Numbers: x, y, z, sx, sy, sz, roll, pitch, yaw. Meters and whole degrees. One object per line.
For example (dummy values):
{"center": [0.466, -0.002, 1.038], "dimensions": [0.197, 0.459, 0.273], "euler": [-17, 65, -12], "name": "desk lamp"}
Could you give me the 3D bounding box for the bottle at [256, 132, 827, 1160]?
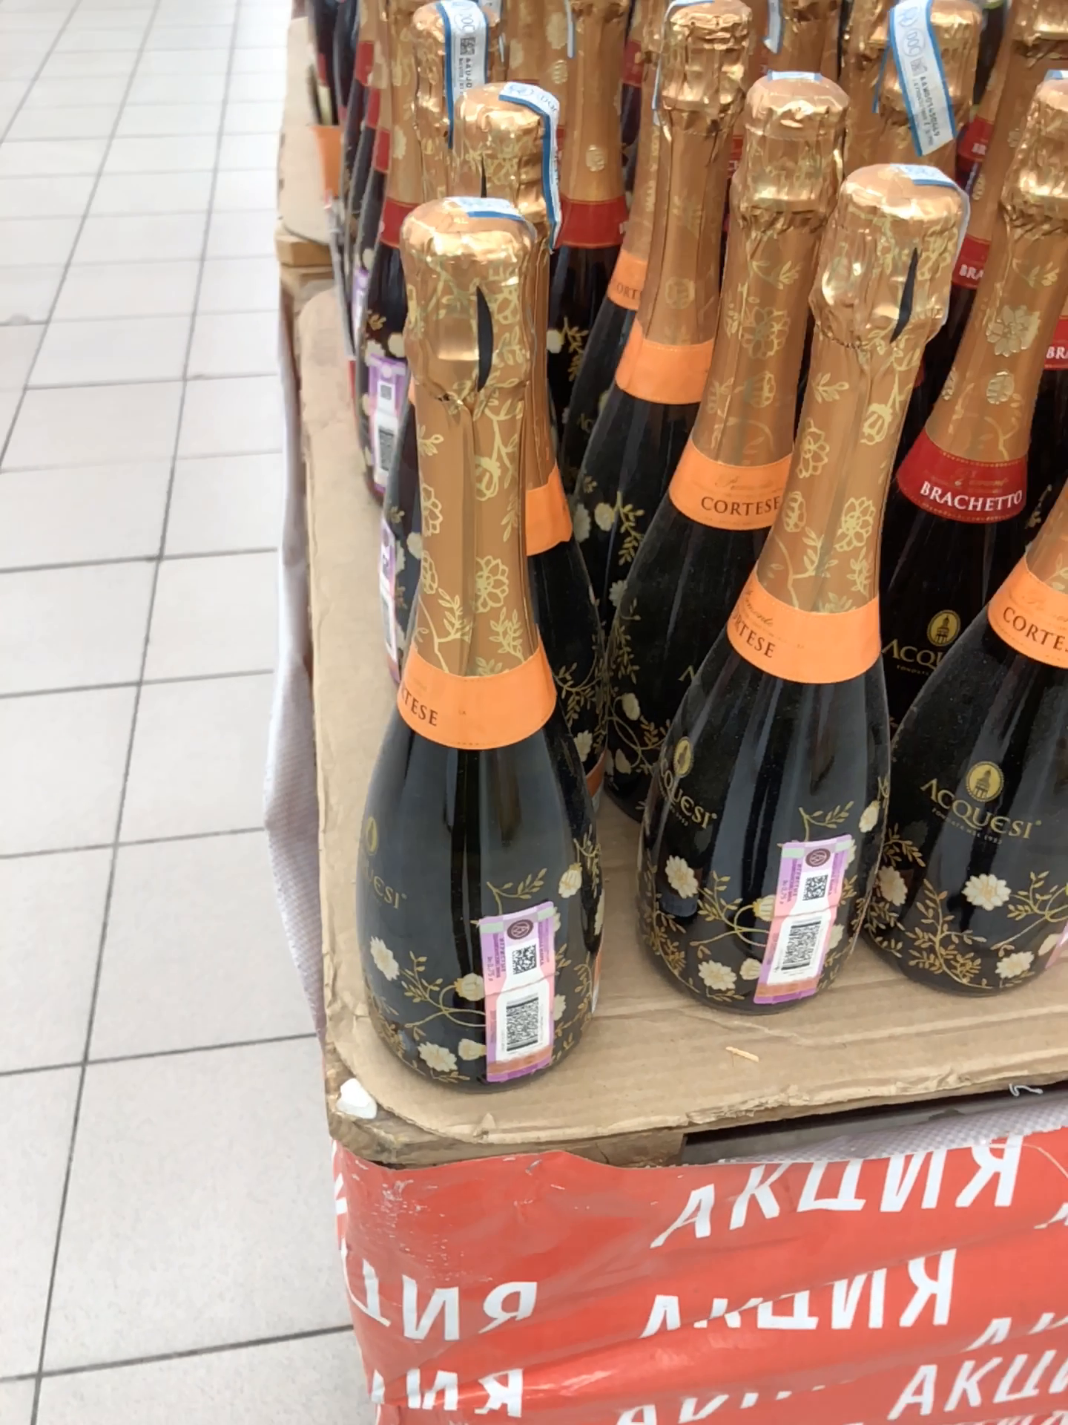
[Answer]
{"center": [-0.004, 0.004, 0.379], "dimensions": [0.100, 0.318, 0.100], "euler": [0, 43, 0], "name": "bottle"}
